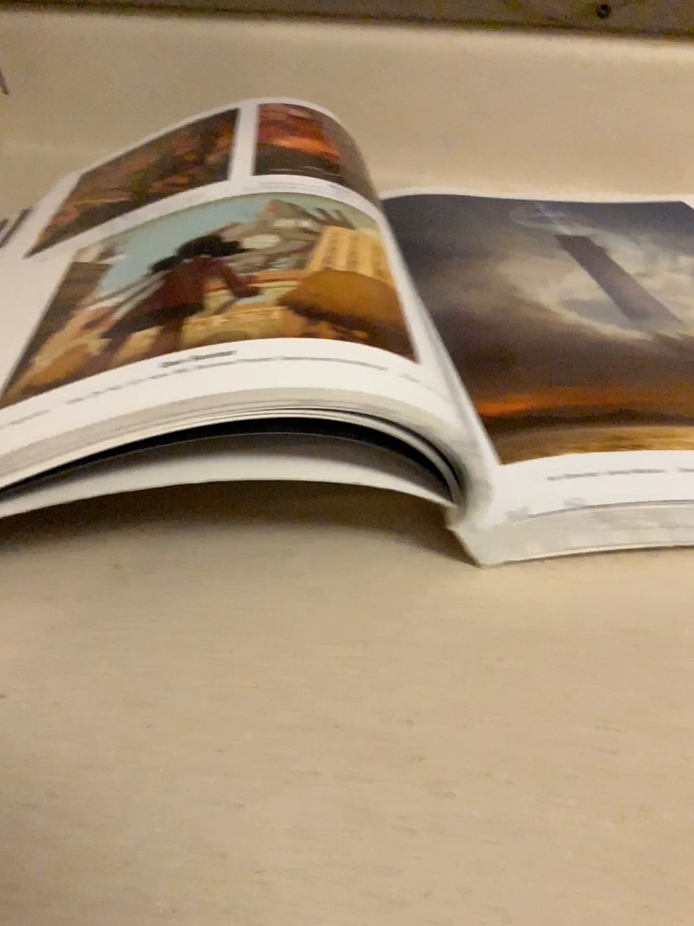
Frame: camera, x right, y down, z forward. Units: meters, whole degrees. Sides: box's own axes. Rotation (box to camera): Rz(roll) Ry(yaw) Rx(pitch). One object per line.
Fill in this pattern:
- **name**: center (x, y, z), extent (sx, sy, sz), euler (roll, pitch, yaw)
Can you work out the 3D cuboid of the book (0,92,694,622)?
- **book**: center (0.030, -0.090, 0.331), extent (0.450, 0.070, 0.320), euler (-3, 35, -6)
